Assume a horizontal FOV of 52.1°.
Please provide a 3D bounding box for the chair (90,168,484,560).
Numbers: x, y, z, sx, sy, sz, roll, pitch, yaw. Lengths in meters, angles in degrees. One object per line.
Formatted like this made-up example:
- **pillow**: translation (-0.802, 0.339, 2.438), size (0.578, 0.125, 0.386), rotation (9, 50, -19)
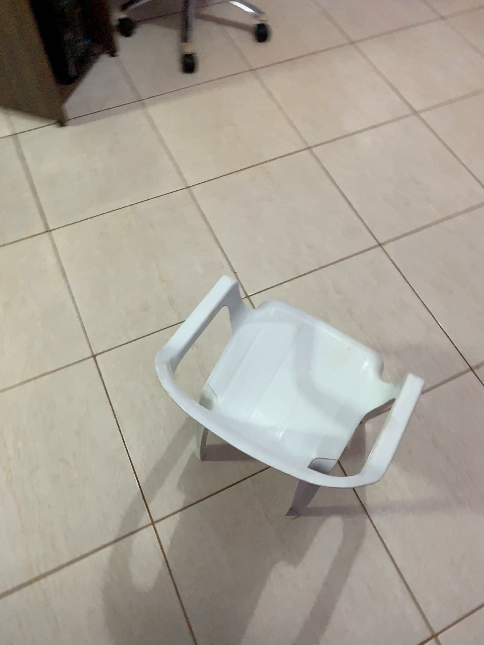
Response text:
- **chair**: translation (0.067, 0.131, 0.903), size (0.400, 0.596, 0.362), rotation (28, 64, 13)
